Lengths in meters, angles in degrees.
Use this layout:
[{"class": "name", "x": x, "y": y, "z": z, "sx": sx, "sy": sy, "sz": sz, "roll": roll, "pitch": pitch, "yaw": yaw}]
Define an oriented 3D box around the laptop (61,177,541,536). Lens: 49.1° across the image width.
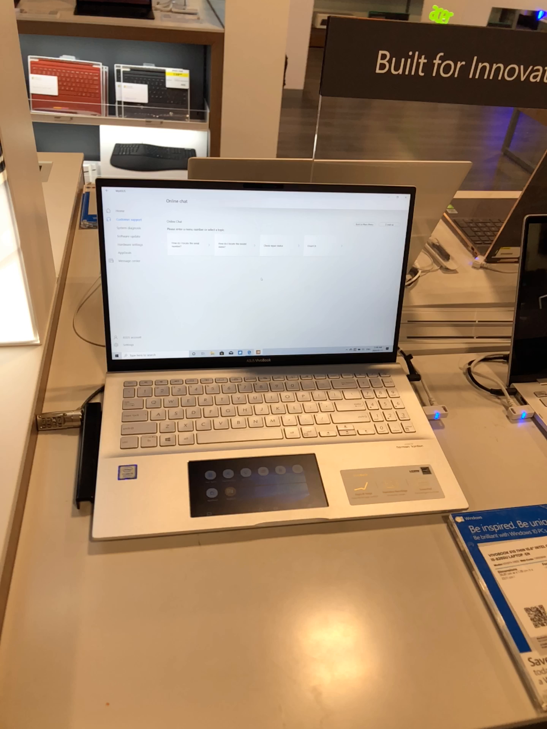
[{"class": "laptop", "x": 0.001, "y": -0.028, "z": 0.569, "sx": 0.330, "sy": 0.189, "sz": 0.285, "roll": -2, "pitch": 38, "yaw": -10}]
